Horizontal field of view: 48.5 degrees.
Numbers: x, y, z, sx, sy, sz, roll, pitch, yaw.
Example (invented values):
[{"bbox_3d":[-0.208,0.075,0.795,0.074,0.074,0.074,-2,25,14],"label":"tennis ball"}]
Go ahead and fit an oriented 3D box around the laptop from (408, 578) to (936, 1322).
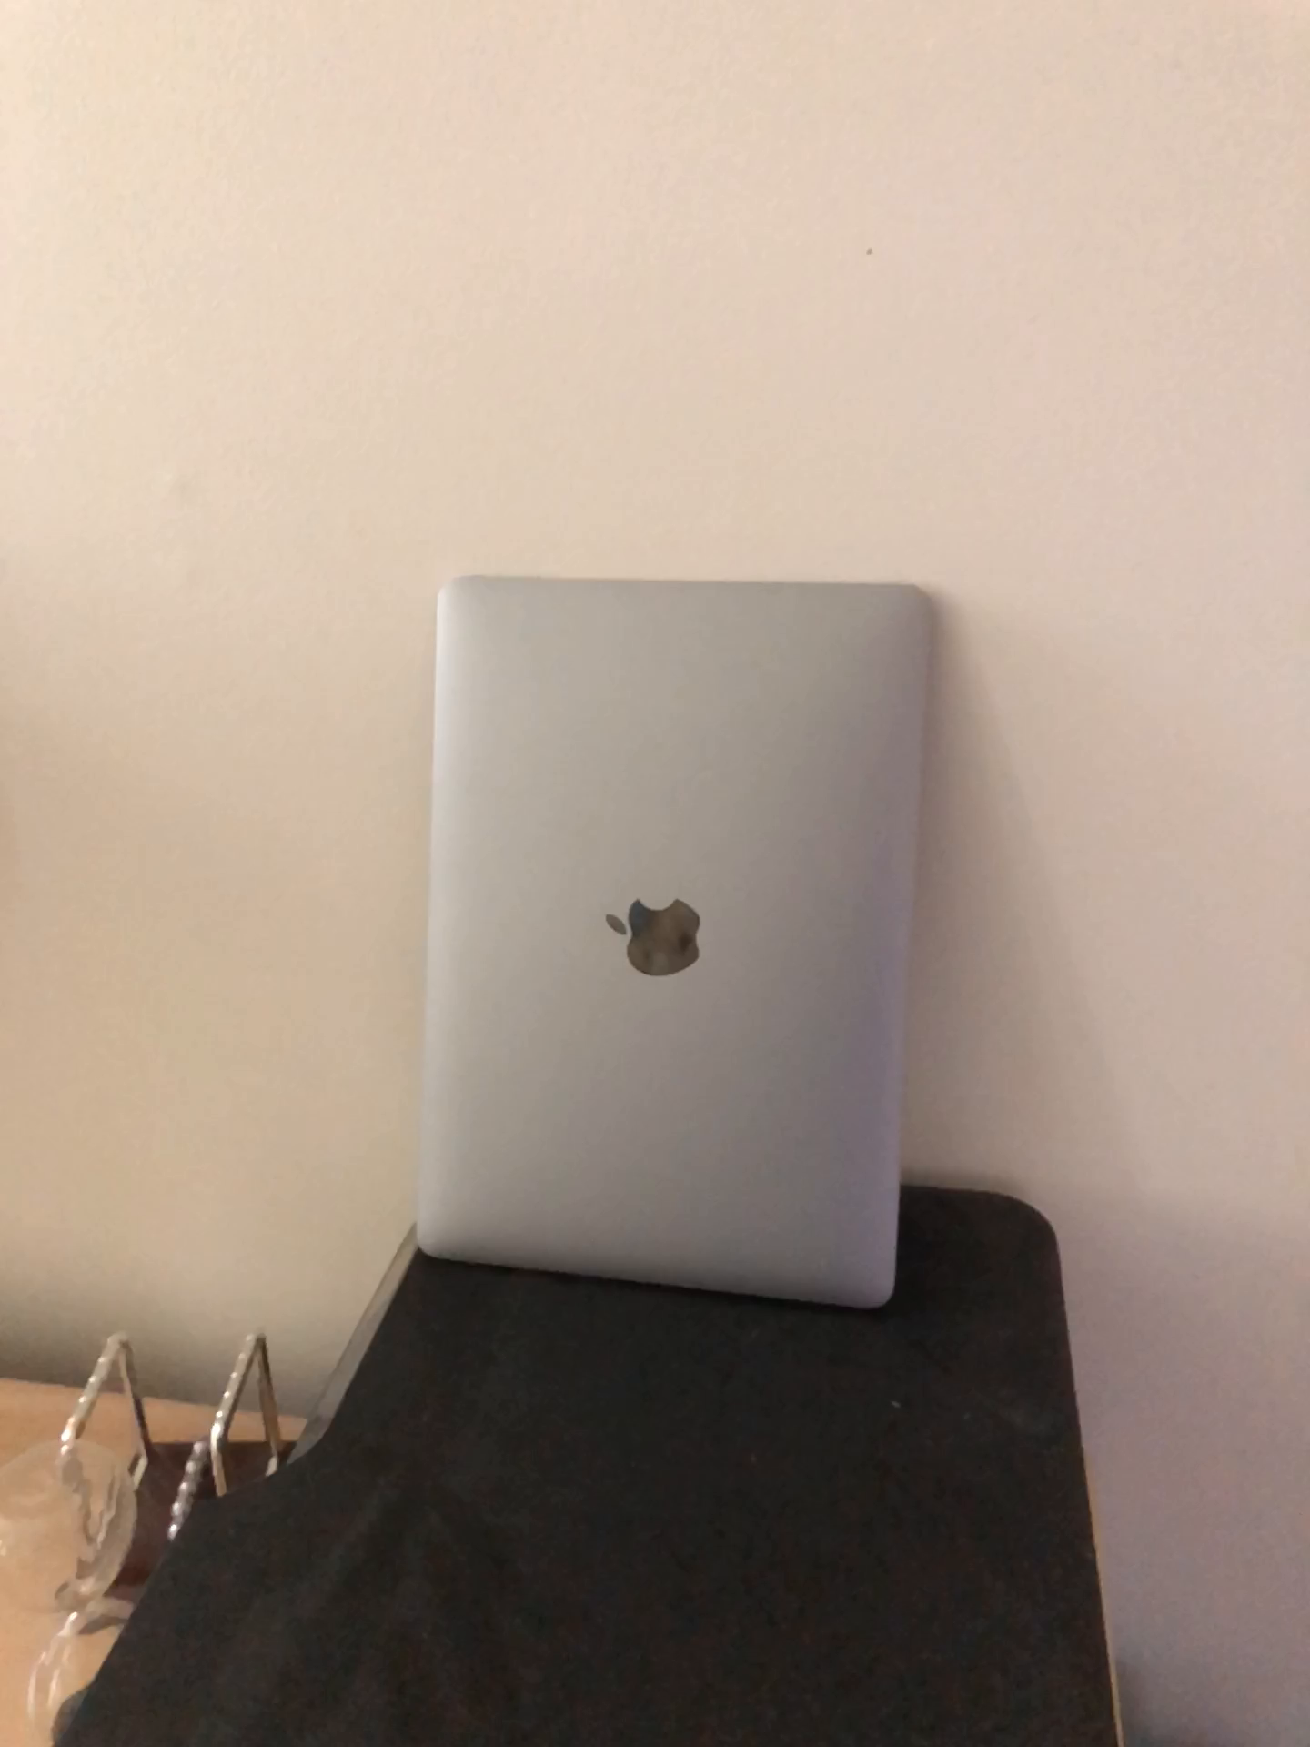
[{"bbox_3d":[0.002,0.027,0.568,0.196,0.275,0.002,3,3,11],"label":"laptop"}]
